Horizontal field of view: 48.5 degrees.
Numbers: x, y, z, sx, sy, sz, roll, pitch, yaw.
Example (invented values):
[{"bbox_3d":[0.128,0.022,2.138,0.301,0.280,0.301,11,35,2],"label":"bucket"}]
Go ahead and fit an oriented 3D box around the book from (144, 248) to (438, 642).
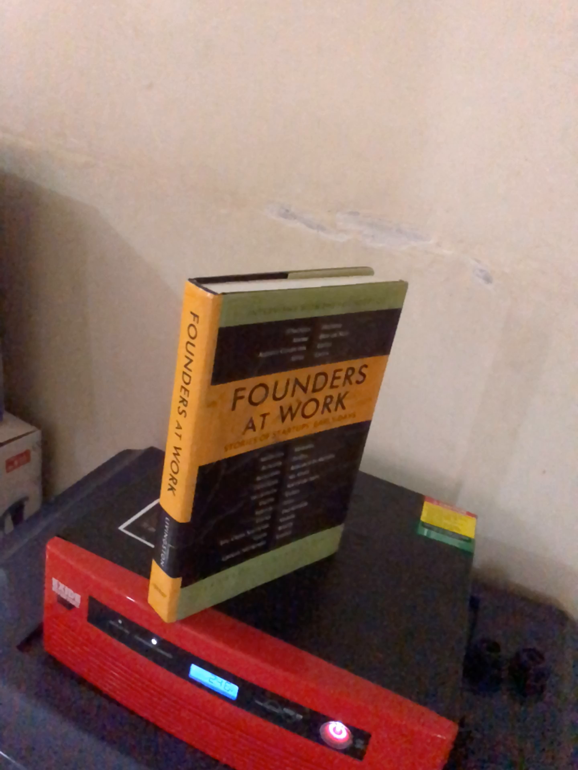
[{"bbox_3d":[-0.002,0.037,0.441,0.180,0.249,0.040,-12,33,-38],"label":"book"}]
